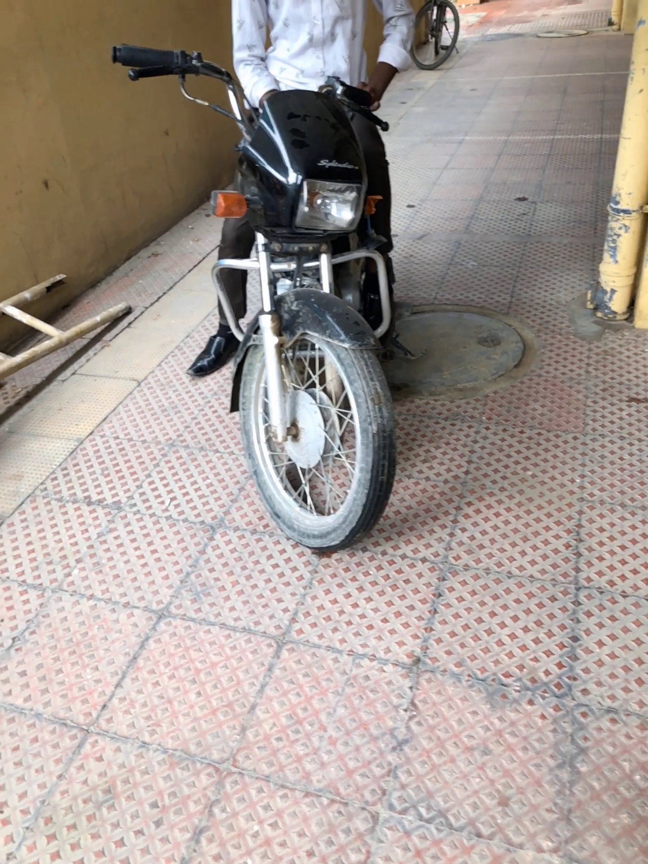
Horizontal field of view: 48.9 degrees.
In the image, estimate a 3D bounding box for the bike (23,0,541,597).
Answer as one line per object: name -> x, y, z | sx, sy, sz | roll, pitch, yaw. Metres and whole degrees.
bike -> -0.010, -0.539, 1.948 | 0.759, 0.974, 1.607 | -3, 37, 4
